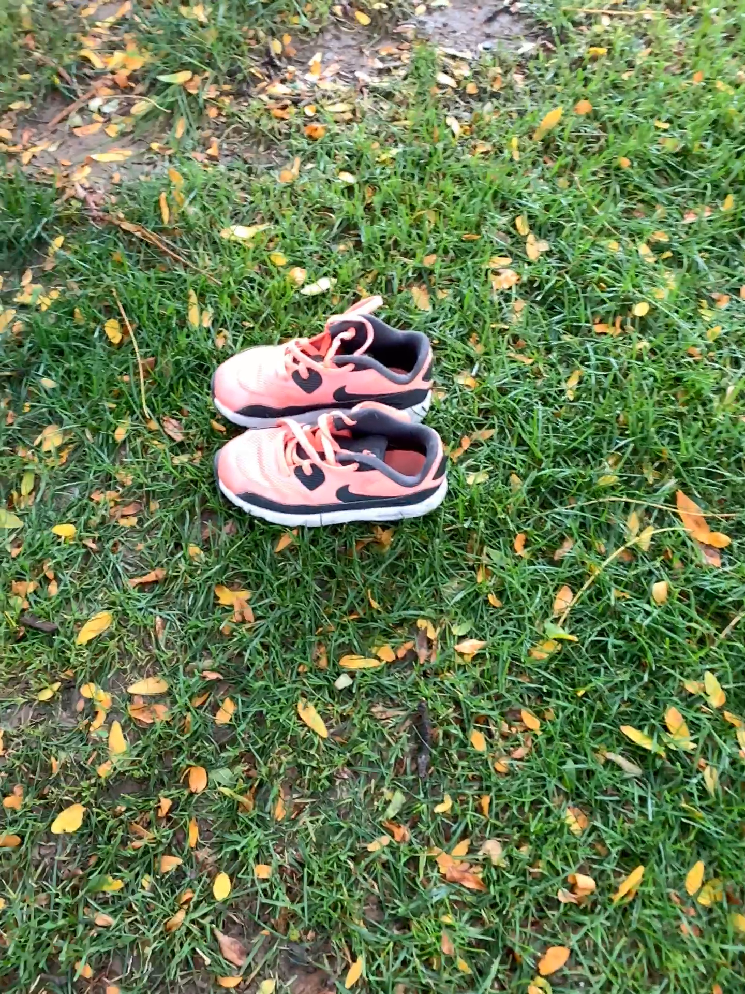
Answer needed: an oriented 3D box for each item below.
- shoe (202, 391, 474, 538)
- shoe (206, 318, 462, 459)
[{"bbox_3d":[-0.024,-0.025,0.607,0.200,0.070,0.080,4,61,0],"label":"shoe"},{"bbox_3d":[-0.029,-0.091,0.644,0.200,0.070,0.080,4,61,0],"label":"shoe"}]
